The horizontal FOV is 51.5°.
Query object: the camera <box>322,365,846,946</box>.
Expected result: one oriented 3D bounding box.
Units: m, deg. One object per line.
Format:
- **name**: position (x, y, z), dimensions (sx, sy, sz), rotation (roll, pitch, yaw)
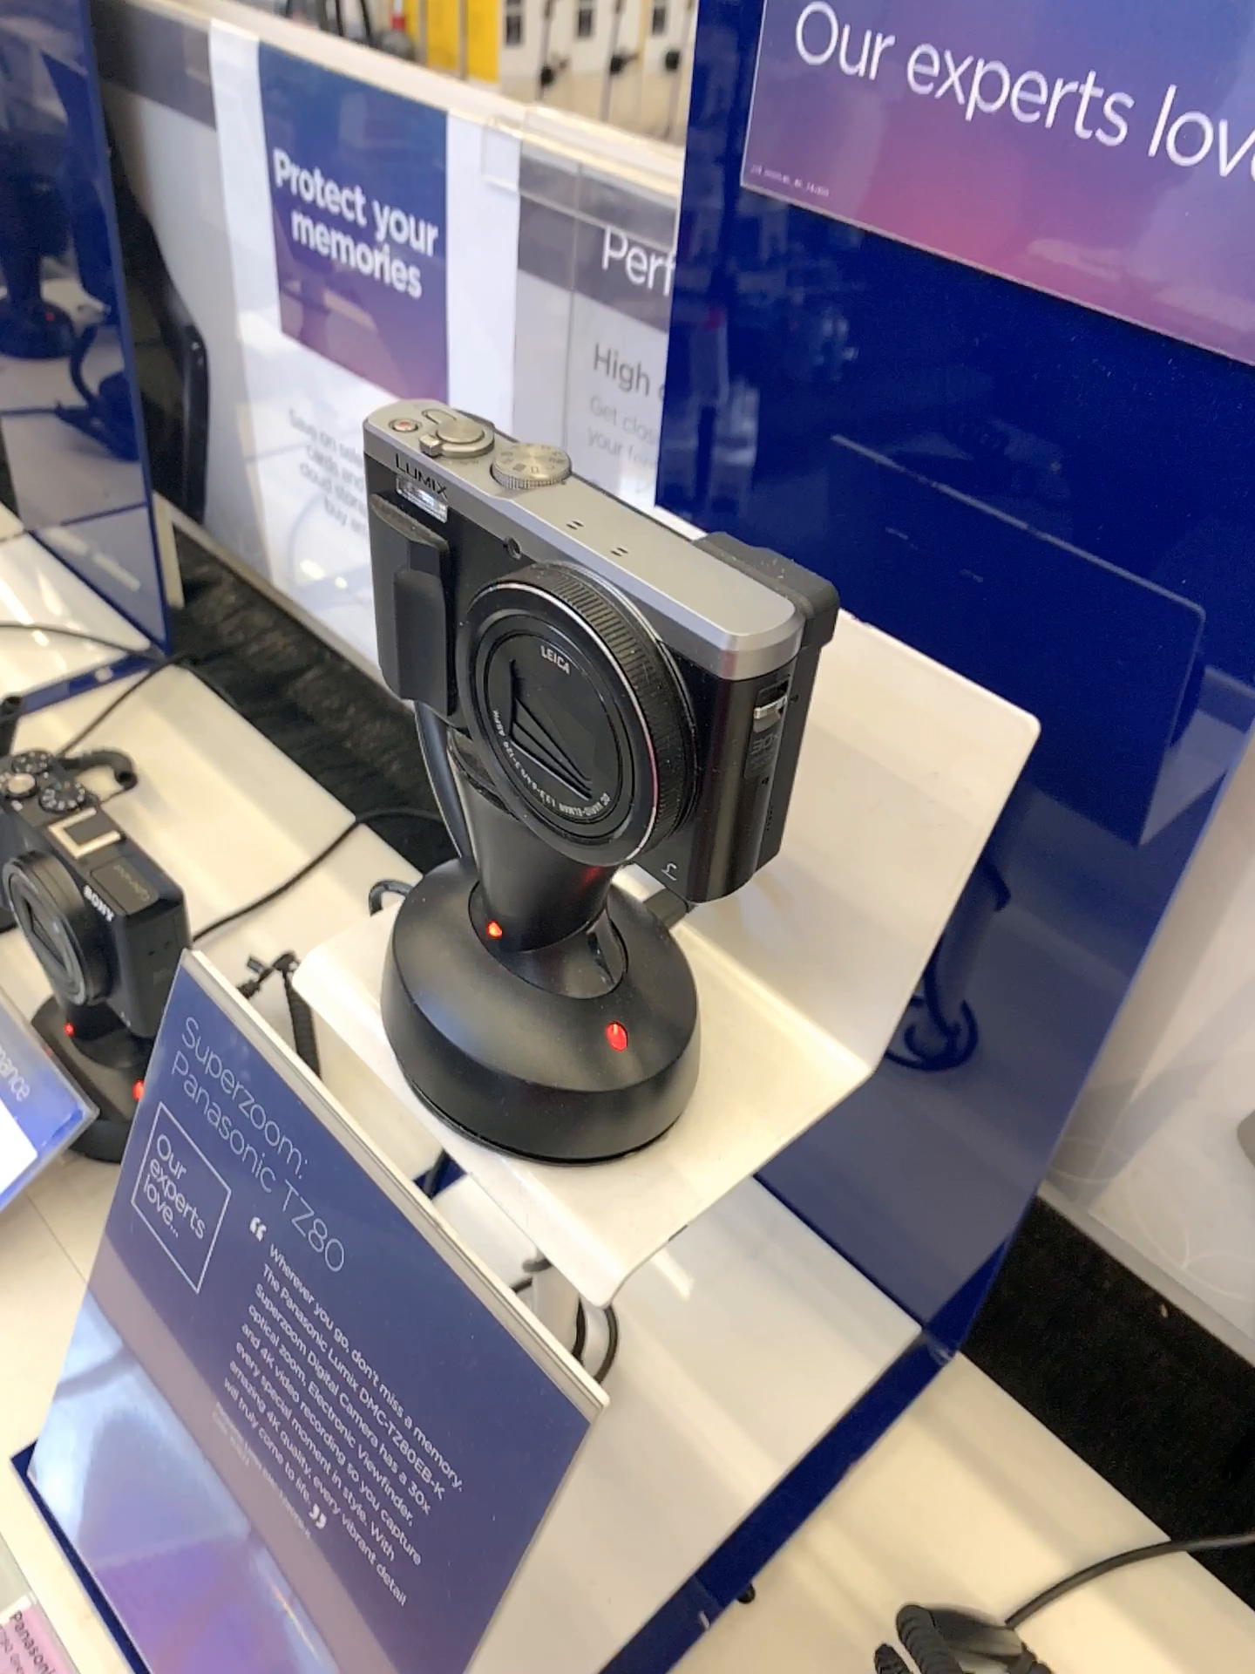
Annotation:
- **camera**: position (-0.015, -0.040, 0.265), dimensions (0.111, 0.069, 0.030), rotation (36, 49, 29)
